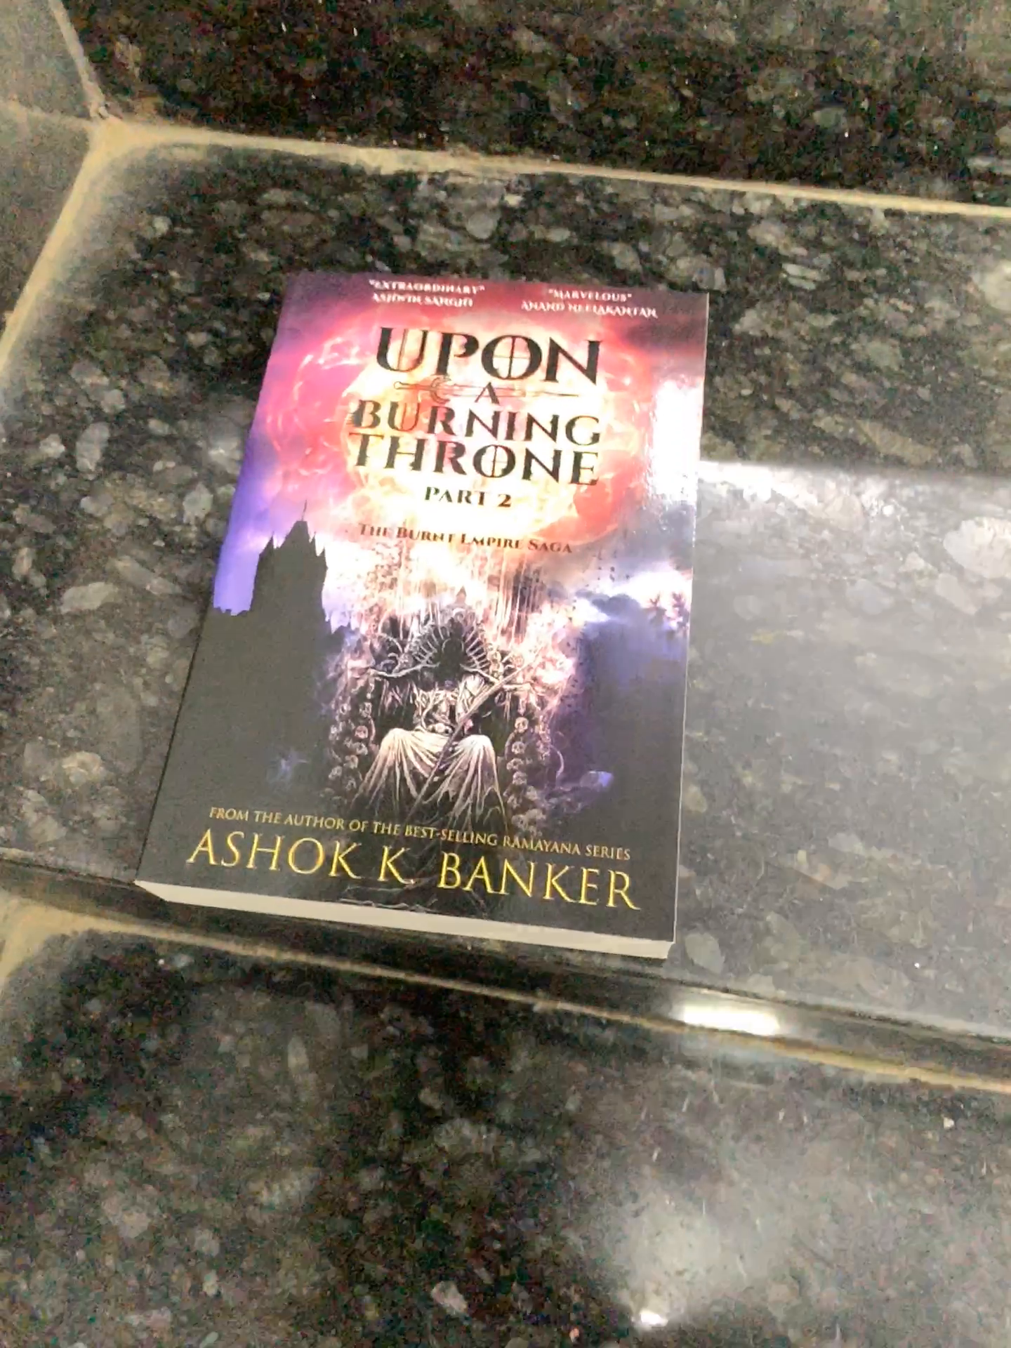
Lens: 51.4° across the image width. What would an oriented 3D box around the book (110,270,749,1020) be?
[{"bbox_3d":[-0.008,-0.020,0.285,0.140,0.030,0.201,5,66,5],"label":"book"}]
